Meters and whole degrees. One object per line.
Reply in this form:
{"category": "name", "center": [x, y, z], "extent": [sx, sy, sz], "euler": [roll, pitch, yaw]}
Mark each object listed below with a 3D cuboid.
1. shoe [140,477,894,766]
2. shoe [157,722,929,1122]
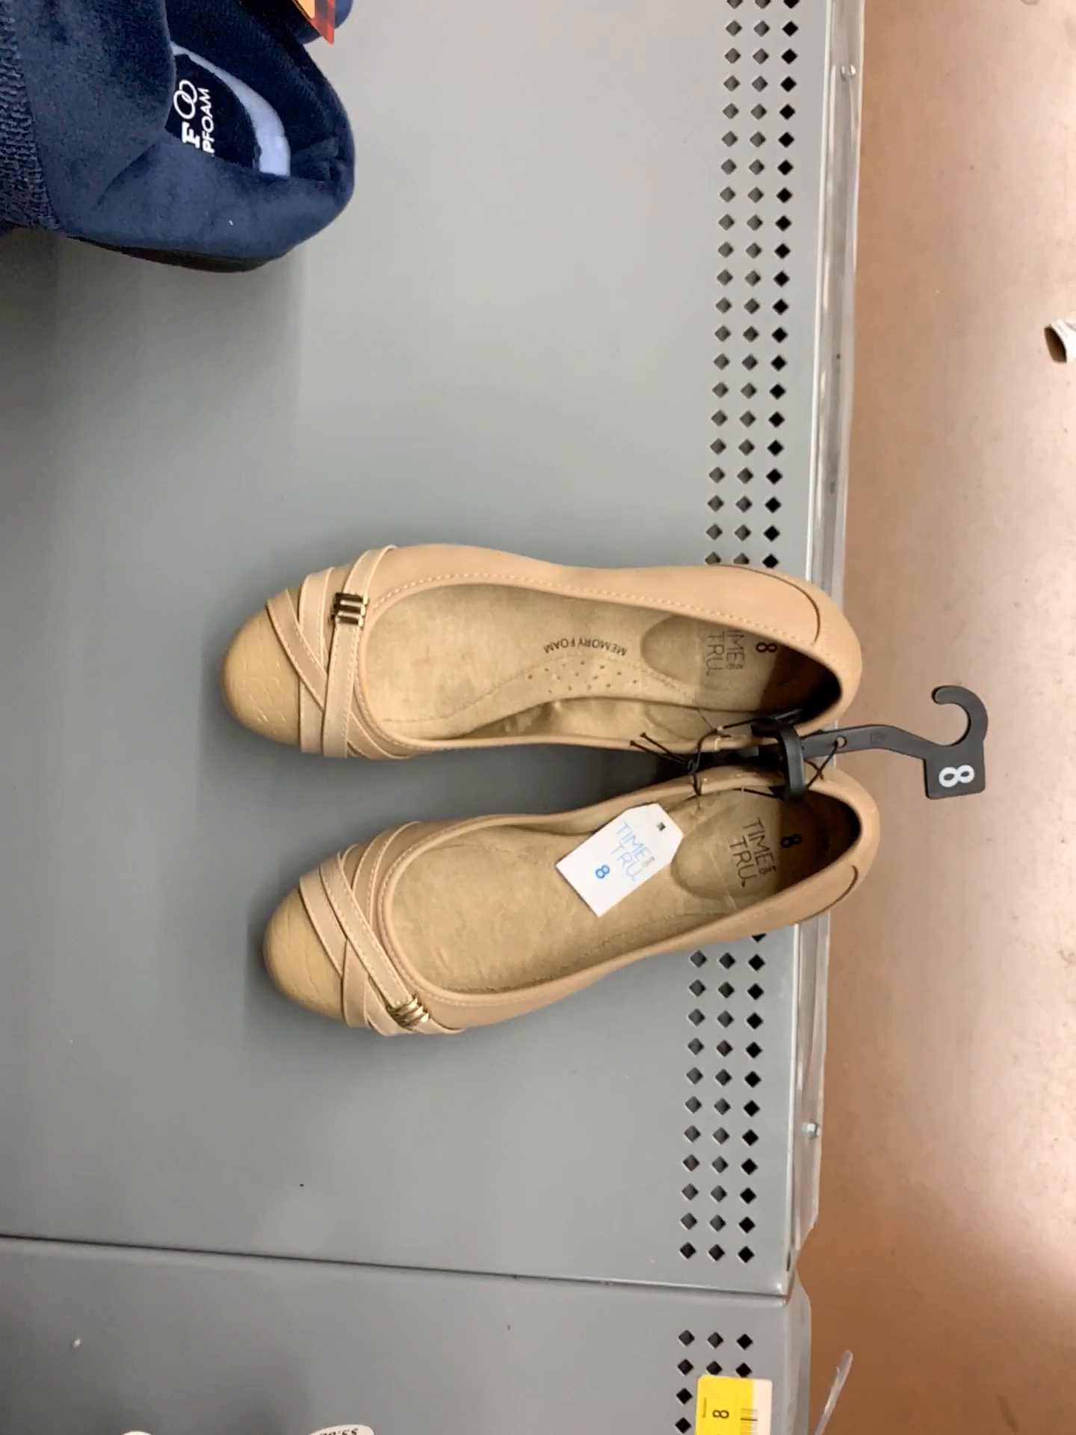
{"category": "shoe", "center": [-0.008, -0.033, 0.464], "extent": [0.280, 0.100, 0.100], "euler": [-1, 88, 4]}
{"category": "shoe", "center": [0.001, 0.081, 0.473], "extent": [0.280, 0.100, 0.100], "euler": [-12, 87, 3]}
